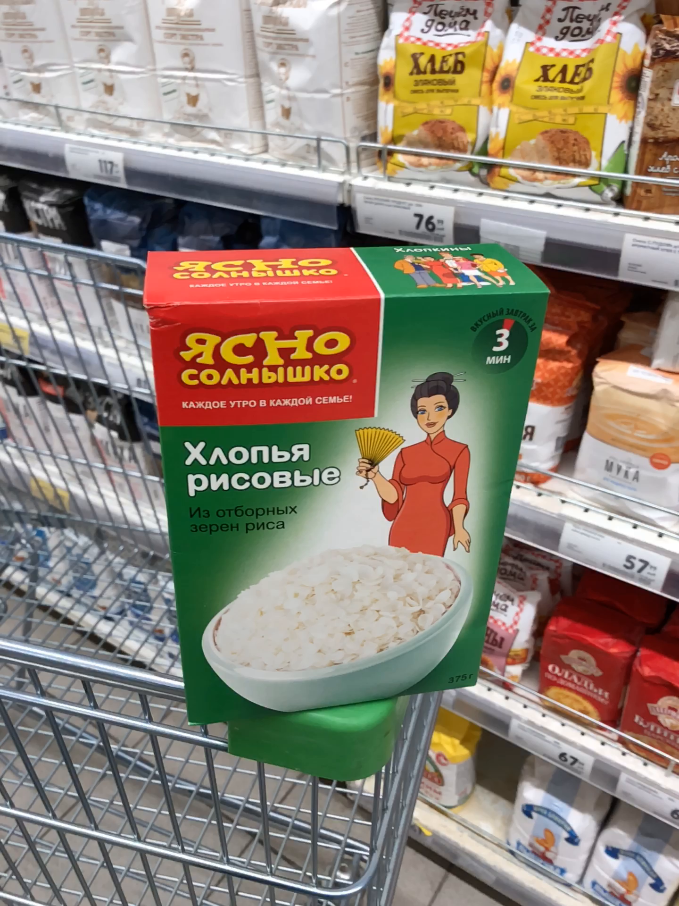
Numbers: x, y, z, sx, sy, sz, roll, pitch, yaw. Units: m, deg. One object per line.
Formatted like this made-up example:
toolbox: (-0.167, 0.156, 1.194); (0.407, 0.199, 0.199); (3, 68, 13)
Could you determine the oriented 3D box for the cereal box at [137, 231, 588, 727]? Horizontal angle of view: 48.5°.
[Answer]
cereal box: (0.004, 0.016, 0.300); (0.140, 0.189, 0.050); (-5, 33, -10)
